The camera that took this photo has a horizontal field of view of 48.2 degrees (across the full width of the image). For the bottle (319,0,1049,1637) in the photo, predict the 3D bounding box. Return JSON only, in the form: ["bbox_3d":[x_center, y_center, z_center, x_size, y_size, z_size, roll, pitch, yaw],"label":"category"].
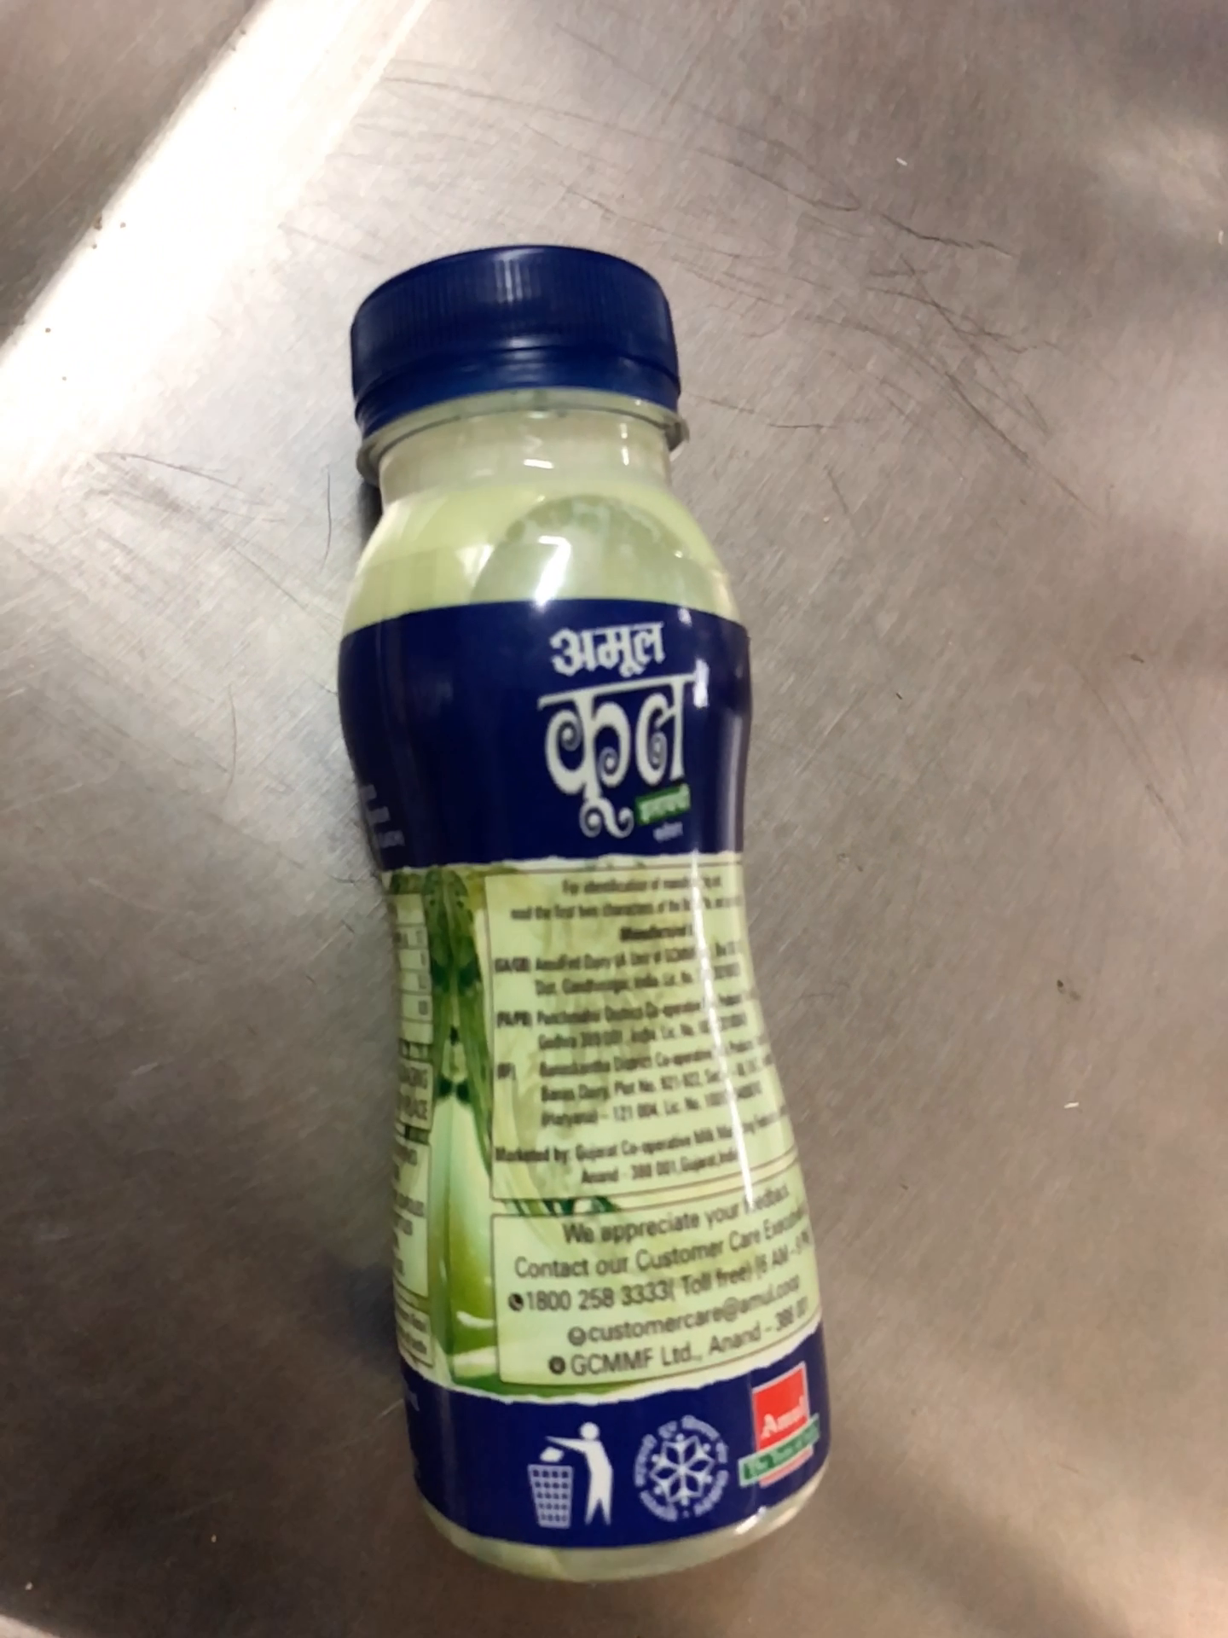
[{"bbox_3d":[0.003,-0.003,0.138,0.050,0.040,0.150,-5,89,-17],"label":"bottle"}]
